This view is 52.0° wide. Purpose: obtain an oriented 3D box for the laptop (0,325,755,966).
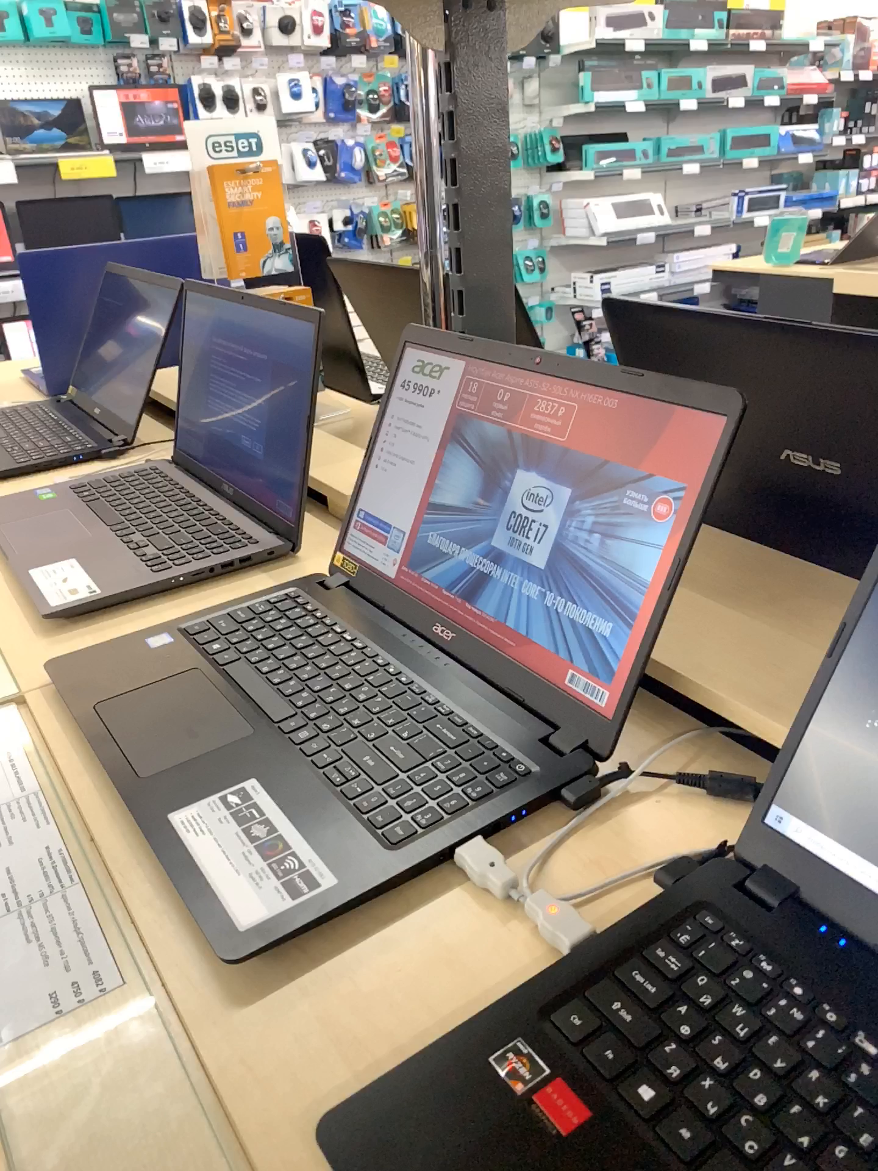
[{"bbox_3d":[-0.062,-0.026,0.618,0.364,0.208,0.370,-19,29,-29],"label":"laptop"}]
